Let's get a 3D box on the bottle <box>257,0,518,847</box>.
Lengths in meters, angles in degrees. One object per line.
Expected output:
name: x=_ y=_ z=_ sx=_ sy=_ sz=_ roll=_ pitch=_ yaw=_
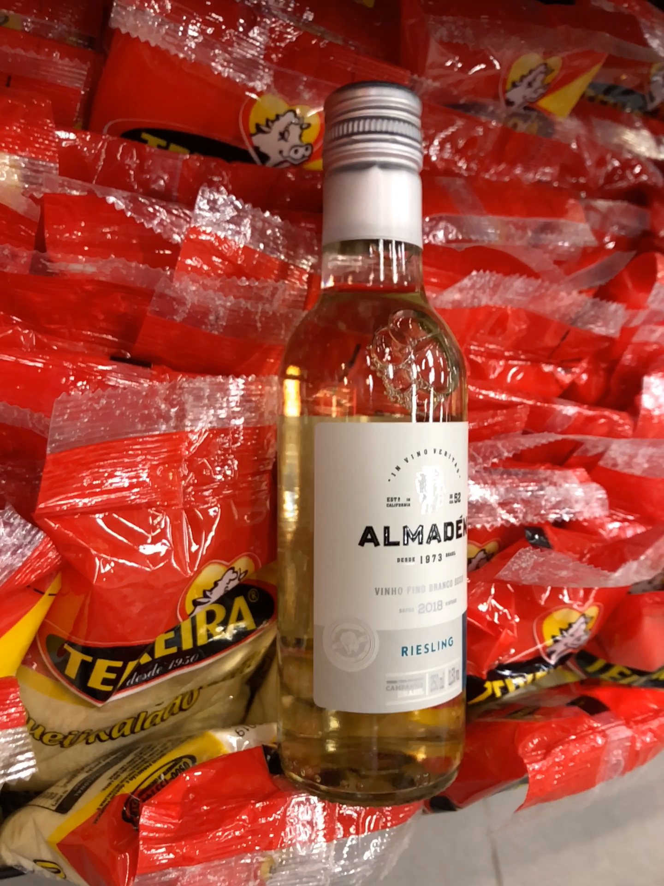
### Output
bottle: x=0.016 y=-0.006 z=0.216 sx=0.060 sy=0.040 sz=0.210 roll=0 pitch=89 yaw=-30
